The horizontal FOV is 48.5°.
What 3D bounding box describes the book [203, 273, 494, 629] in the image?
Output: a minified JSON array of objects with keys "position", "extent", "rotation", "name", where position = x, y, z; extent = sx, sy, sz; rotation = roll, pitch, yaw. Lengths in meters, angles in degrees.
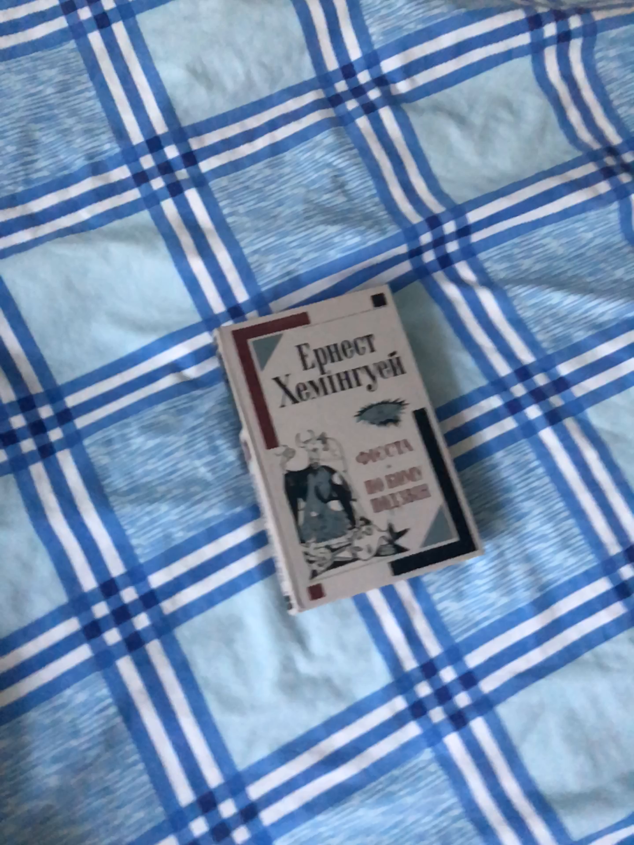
[{"position":[0.017,0.016,0.503],"extent":[0.142,0.040,0.220],"rotation":[-16,76,-6],"name":"book"}]
